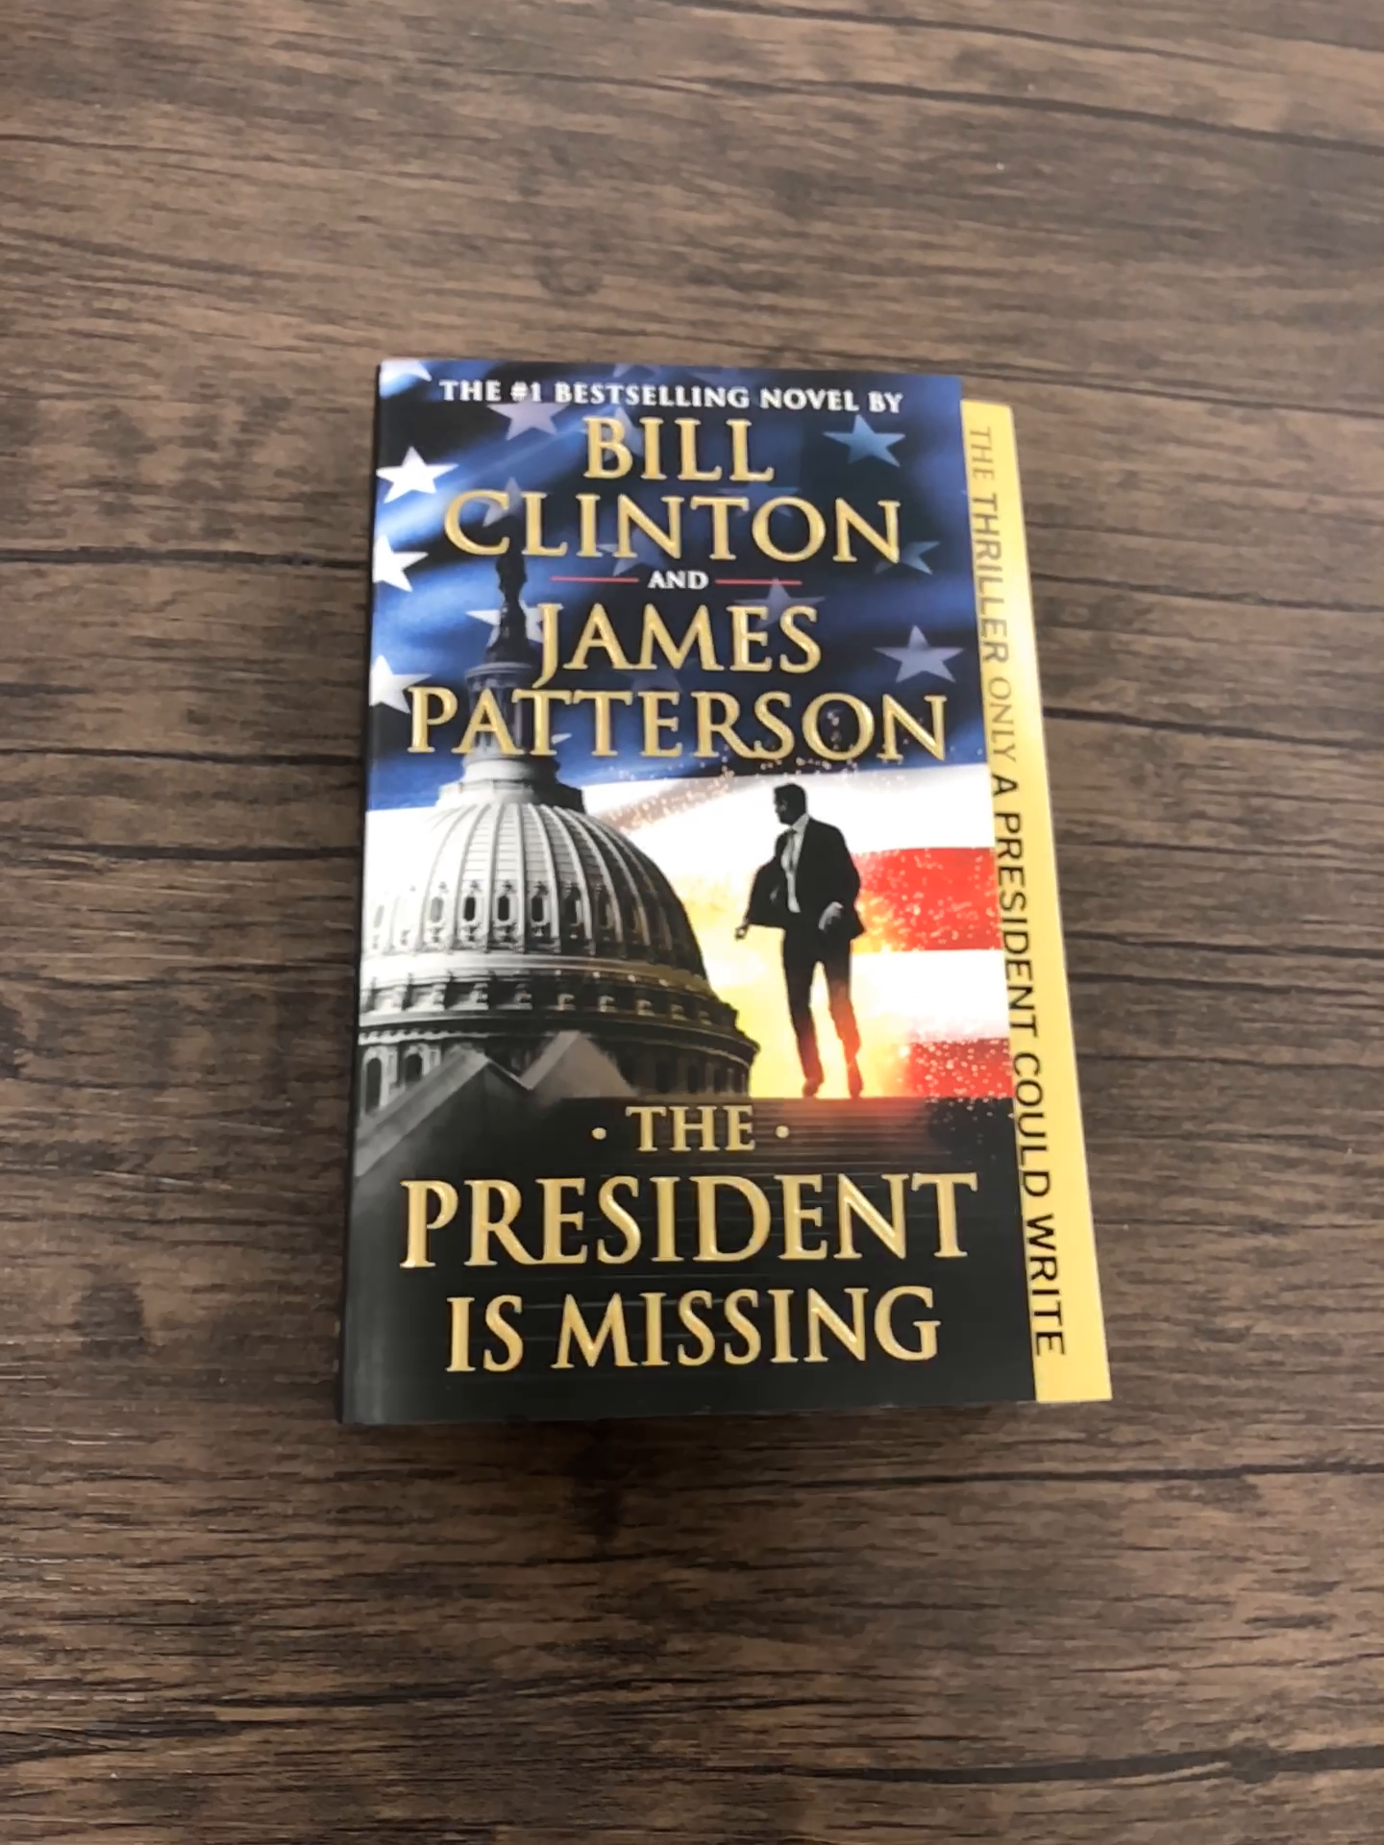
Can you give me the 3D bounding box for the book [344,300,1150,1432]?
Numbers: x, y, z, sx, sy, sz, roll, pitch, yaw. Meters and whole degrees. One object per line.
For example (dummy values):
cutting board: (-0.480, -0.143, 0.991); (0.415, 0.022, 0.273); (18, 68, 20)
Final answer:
book: (0.004, -0.013, 0.319); (0.140, 0.054, 0.216); (1, 74, -10)
